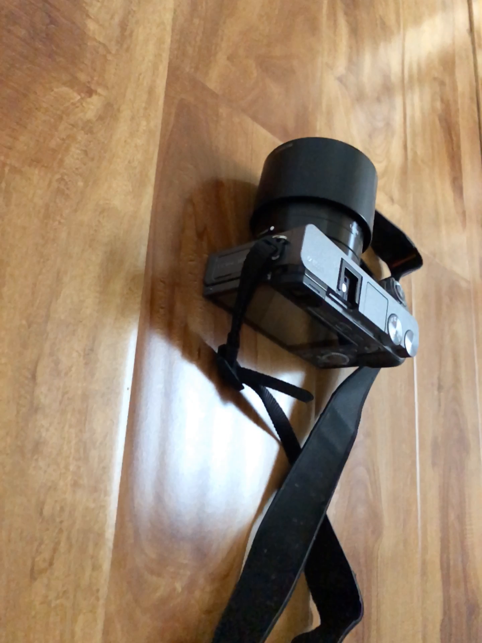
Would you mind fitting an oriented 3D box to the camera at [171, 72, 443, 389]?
[{"bbox_3d":[0.049,-0.039,0.315,0.141,0.080,0.110,32,58,-39],"label":"camera"}]
